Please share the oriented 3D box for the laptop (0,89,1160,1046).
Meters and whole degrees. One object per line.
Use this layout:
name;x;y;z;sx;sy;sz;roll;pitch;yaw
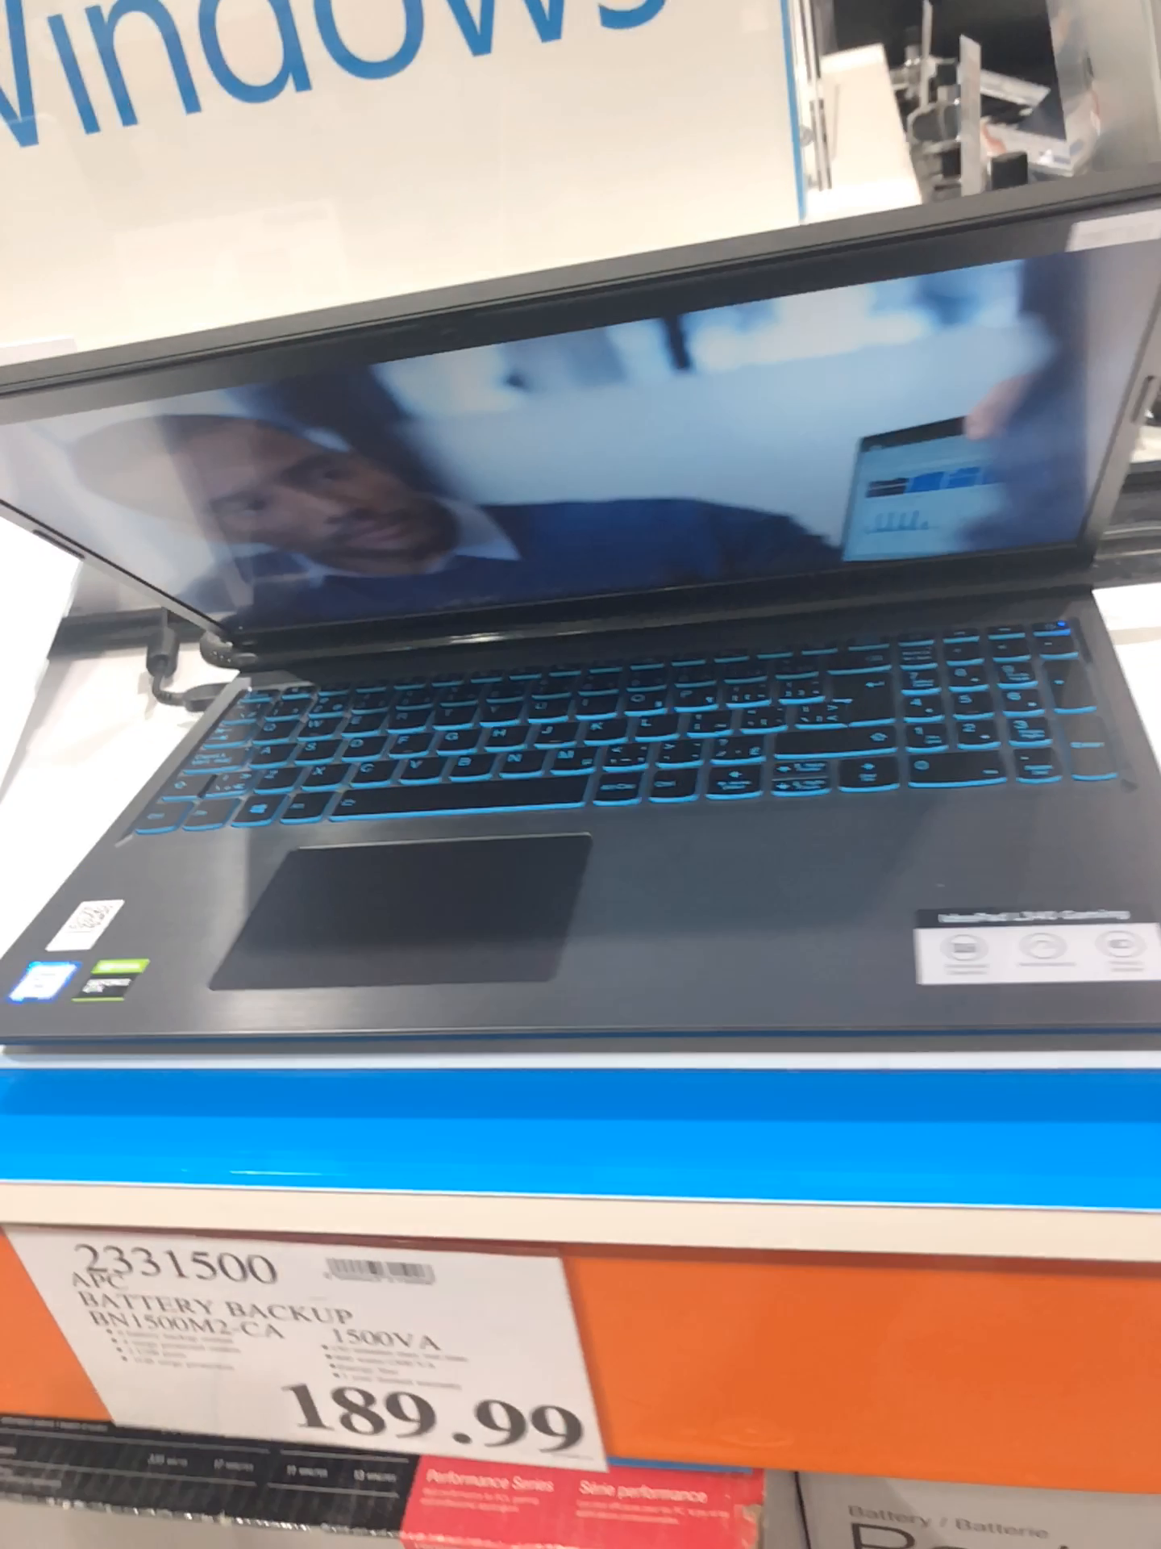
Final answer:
laptop;-0.008;-0.069;0.392;0.344;0.170;0.241;-4;32;14
